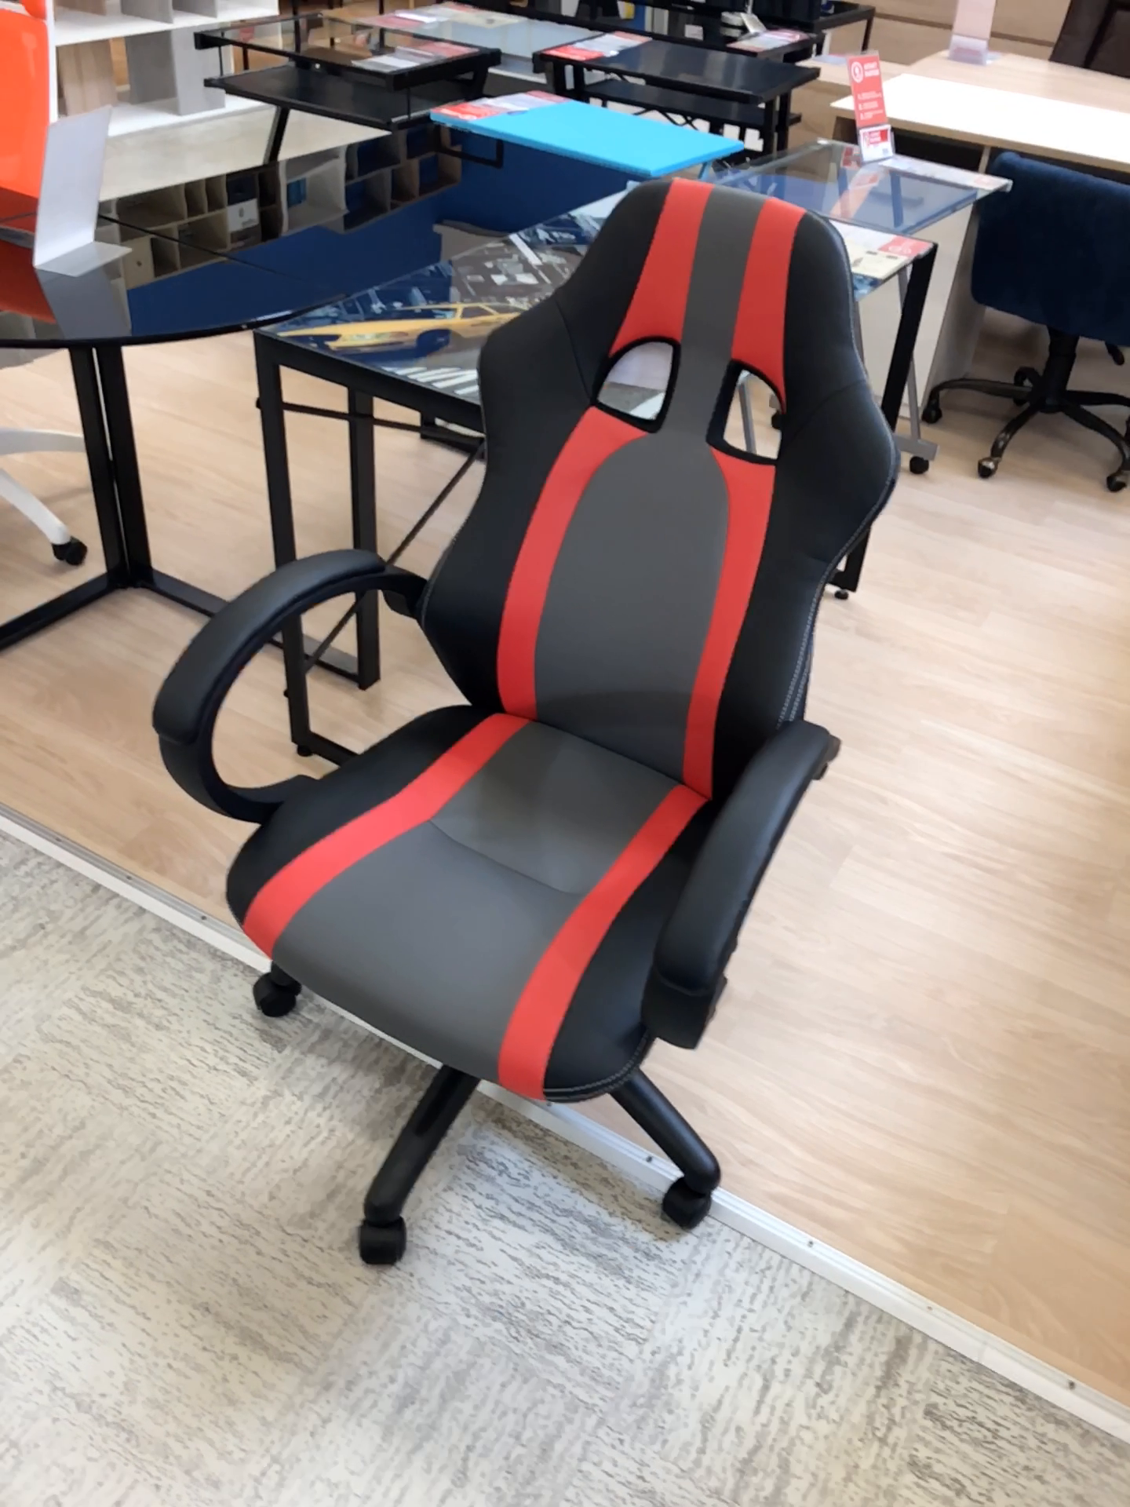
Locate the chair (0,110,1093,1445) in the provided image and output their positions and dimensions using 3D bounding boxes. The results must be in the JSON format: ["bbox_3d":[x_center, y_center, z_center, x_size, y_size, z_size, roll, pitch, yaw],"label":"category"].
[{"bbox_3d":[-0.051,-0.028,1.234,0.690,0.924,0.695,23,41,22],"label":"chair"}]
